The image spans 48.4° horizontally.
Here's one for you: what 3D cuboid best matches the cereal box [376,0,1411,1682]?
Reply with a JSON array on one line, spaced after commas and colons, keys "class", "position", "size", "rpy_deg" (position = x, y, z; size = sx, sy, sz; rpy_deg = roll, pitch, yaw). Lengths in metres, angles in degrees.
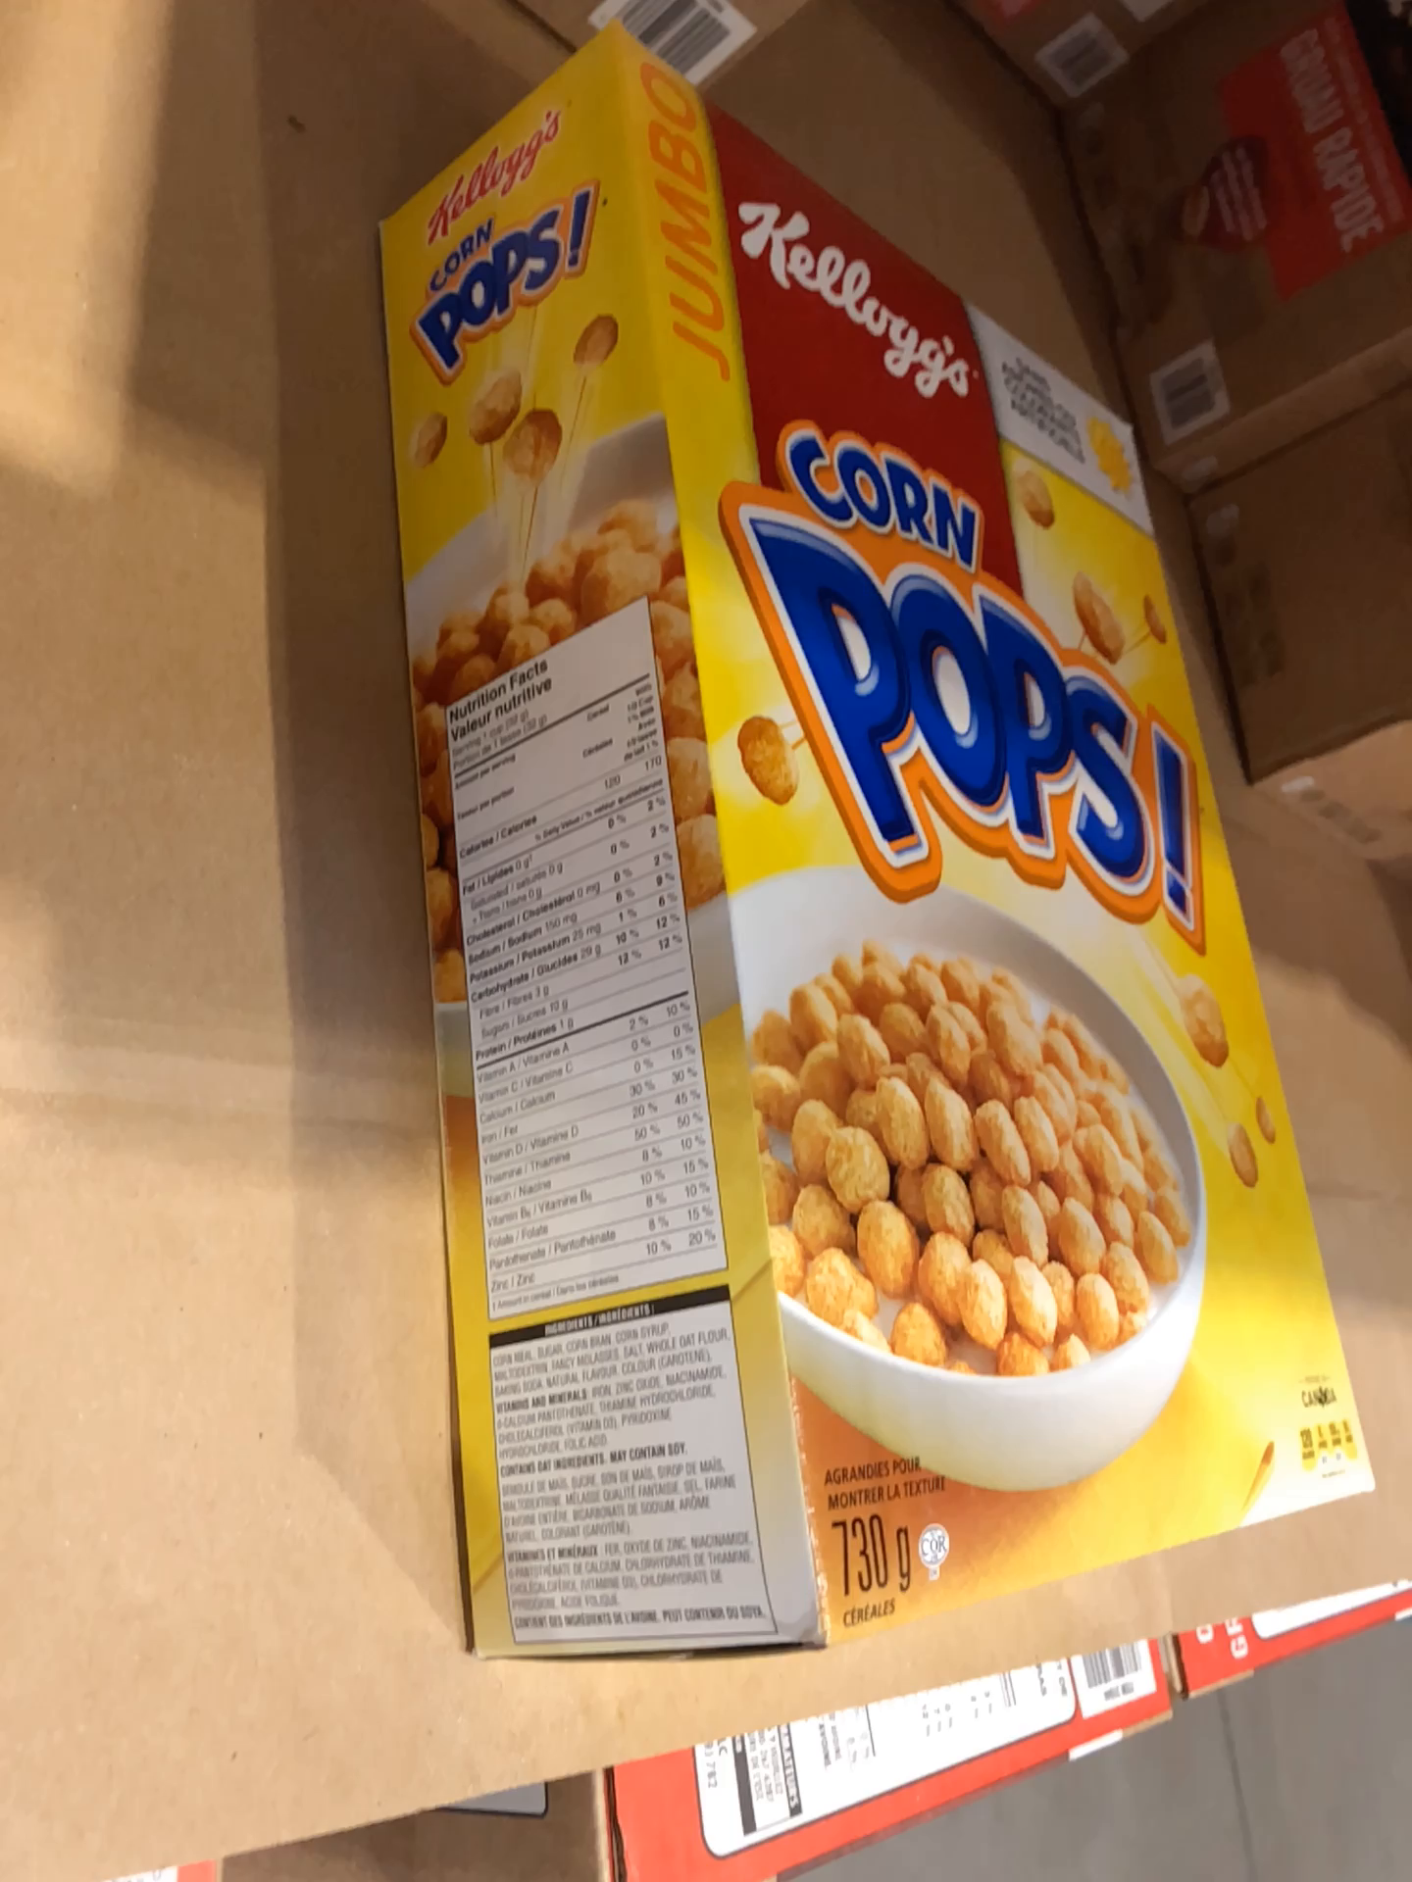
[{"class": "cereal box", "position": [0.065, -0.017, 0.413], "size": [0.272, 0.099, 0.340], "rpy_deg": [13, 63, -46]}]
